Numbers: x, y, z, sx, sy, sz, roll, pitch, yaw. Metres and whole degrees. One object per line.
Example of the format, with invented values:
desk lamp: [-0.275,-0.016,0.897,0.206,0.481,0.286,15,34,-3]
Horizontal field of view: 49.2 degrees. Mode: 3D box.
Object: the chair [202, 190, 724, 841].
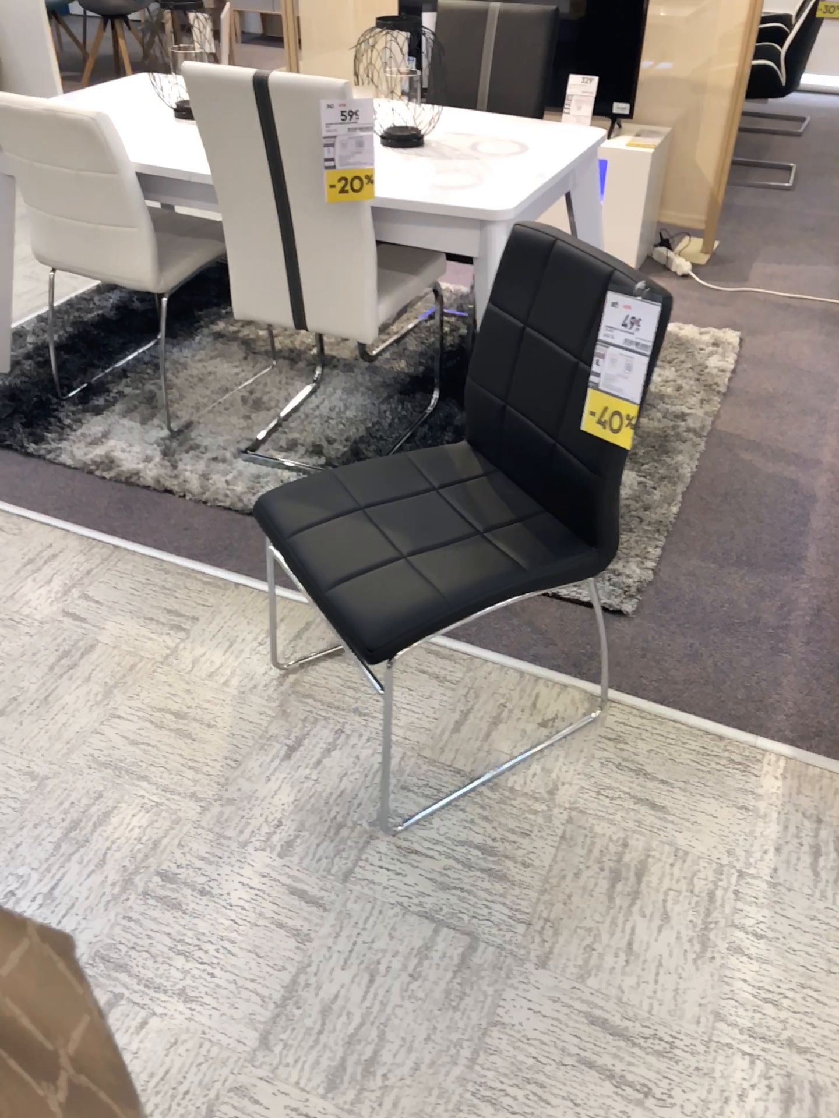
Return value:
chair: [0.043,-0.089,1.542,0.538,0.825,0.521,-21,42,-26]
